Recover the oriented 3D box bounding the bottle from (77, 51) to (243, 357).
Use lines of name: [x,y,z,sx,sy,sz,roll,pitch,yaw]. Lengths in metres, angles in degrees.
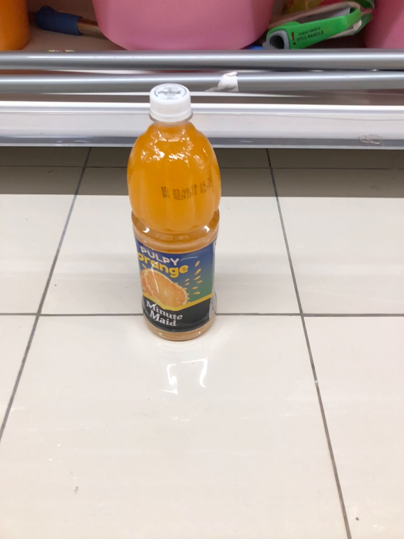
bottle: [-0.030,-0.043,0.417,0.090,0.268,0.080,23,50,21]
